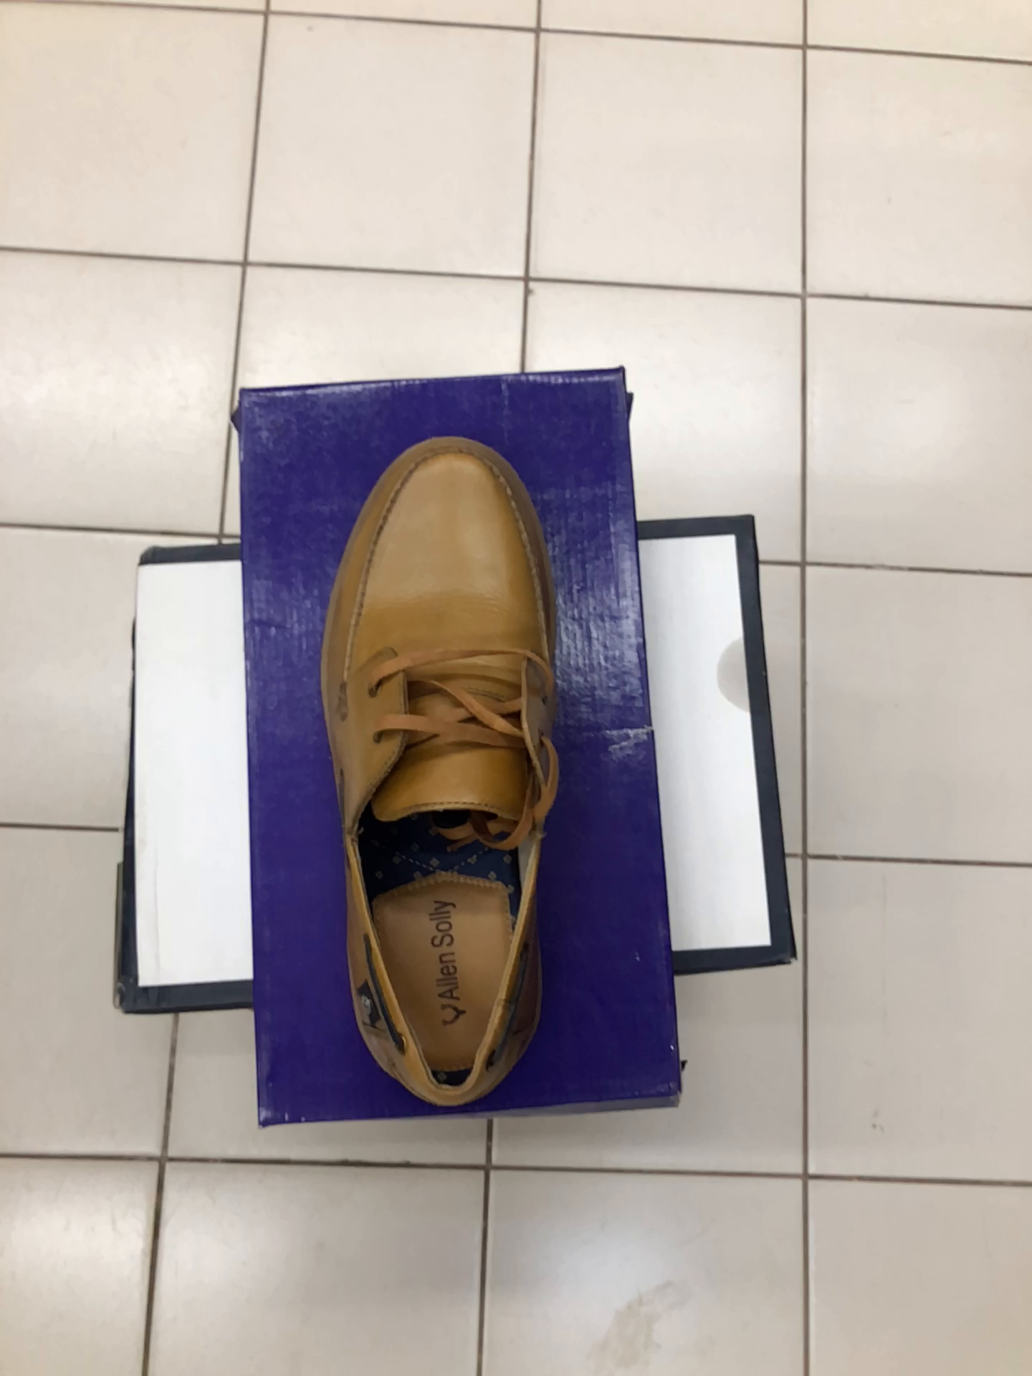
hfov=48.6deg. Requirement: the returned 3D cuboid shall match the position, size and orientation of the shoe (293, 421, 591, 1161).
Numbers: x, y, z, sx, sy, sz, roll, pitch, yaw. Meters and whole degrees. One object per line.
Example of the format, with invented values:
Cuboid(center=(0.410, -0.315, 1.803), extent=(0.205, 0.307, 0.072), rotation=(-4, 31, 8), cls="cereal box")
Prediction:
Cuboid(center=(-0.029, 0.038, 0.459), extent=(0.100, 0.110, 0.260), rotation=(0, 81, -3), cls="shoe")
